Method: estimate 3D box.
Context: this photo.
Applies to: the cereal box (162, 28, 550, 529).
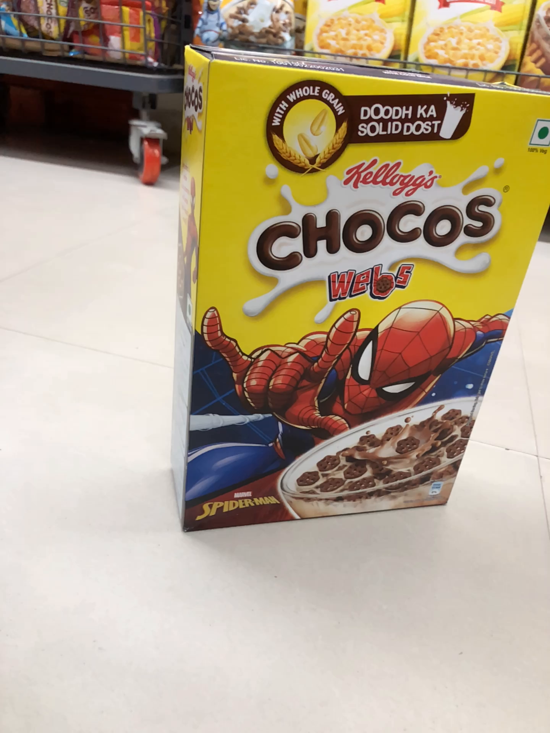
[{"bbox_3d":[0.042,-0.037,0.323,0.190,0.229,0.080,-2,30,-15],"label":"cereal box"}]
